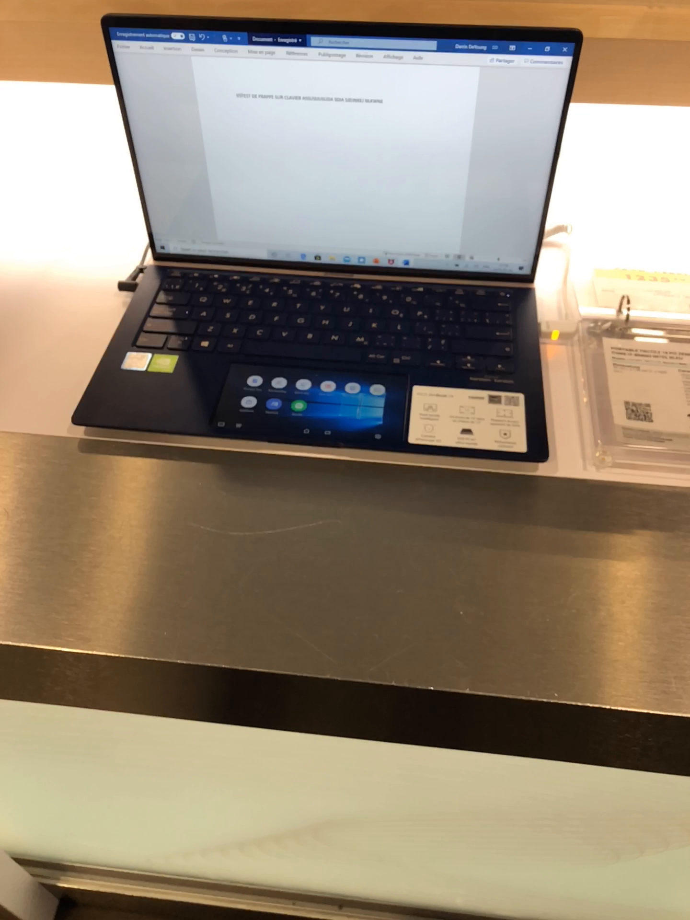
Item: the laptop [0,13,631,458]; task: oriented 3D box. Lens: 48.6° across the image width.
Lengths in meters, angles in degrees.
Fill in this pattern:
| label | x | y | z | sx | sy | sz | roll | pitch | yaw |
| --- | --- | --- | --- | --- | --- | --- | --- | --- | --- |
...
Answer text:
| label | x | y | z | sx | sy | sz | roll | pitch | yaw |
| --- | --- | --- | --- | --- | --- | --- | --- | --- | --- |
| laptop | -0.017 | -0.149 | 0.497 | 0.317 | 0.193 | 0.200 | 4 | 47 | 5 |
